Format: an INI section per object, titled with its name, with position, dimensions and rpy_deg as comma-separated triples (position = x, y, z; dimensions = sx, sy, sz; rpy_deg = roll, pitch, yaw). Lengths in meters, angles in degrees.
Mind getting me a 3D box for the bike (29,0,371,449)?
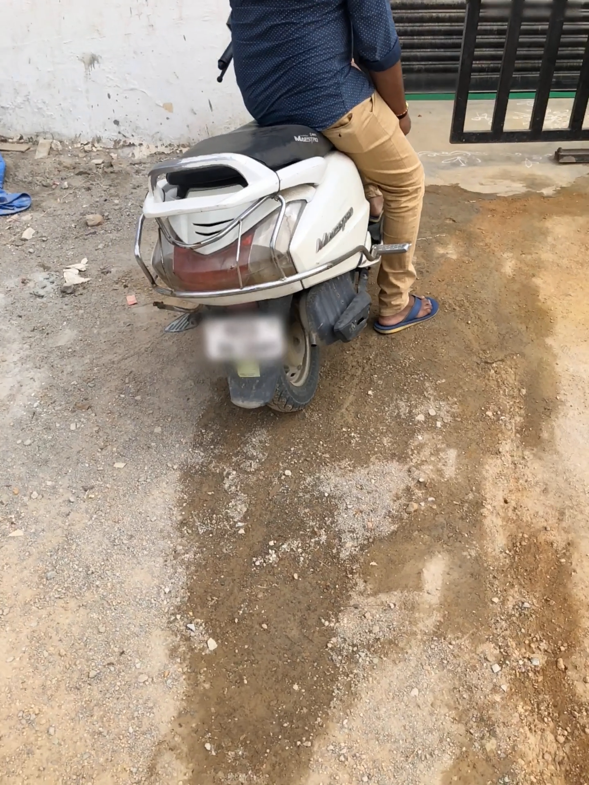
[bike]
position = -0.124, -0.920, 2.139
dimensions = 0.599, 1.231, 1.565
rpy_deg = 5, 41, 7
